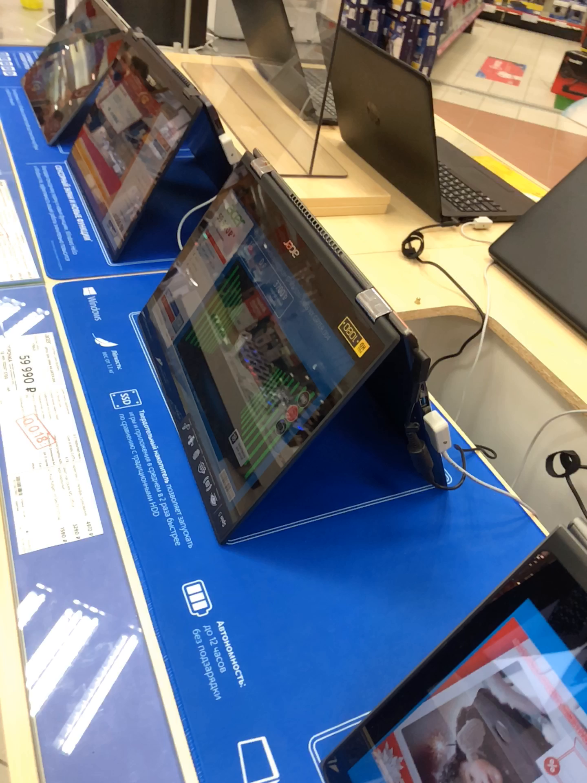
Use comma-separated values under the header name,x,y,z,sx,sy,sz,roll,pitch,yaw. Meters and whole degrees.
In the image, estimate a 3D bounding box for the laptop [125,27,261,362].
name,x,y,z,sx,sy,sz,roll,pitch,yaw
laptop,-0.156,-0.281,0.962,0.175,0.179,0.270,19,28,-42

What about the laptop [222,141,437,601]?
name,x,y,z,sx,sy,sz,roll,pitch,yaw
laptop,0.028,-0.002,0.691,0.201,0.158,0.308,24,25,-48
